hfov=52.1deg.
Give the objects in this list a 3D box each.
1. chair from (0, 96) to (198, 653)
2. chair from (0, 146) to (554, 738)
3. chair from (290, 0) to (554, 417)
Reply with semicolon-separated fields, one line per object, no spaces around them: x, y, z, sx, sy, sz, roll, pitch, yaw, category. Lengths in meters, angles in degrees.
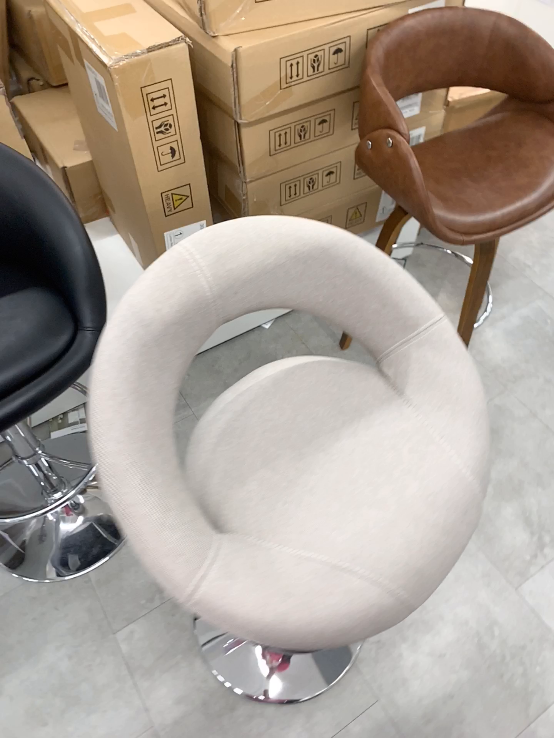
-0.554;0.089;1.140;0.517;0.935;0.485;-34;61;-24;chair
0.035;0.262;0.984;0.568;0.965;0.485;-38;62;-26;chair
0.391;-0.391;1.543;0.516;0.865;0.546;-16;55;-13;chair
